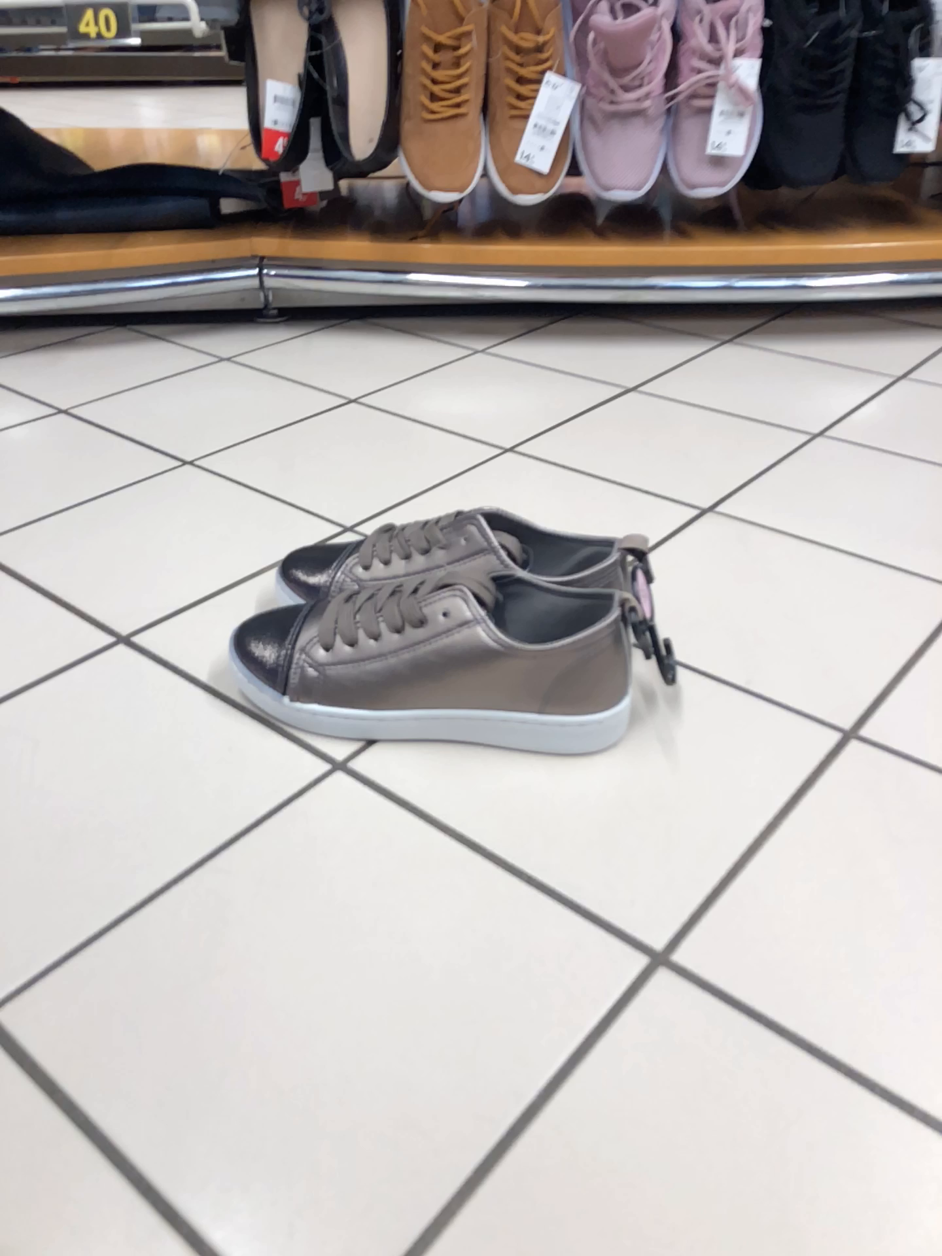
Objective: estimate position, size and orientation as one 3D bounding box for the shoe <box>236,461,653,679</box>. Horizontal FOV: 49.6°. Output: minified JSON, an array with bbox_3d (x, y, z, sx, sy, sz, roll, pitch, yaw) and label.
[{"bbox_3d":[-0.013,-0.041,0.645,0.240,0.080,0.091,7,33,11],"label":"shoe"}]

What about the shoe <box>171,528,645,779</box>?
[{"bbox_3d":[-0.029,0.010,0.570,0.240,0.080,0.091,6,33,9],"label":"shoe"}]
